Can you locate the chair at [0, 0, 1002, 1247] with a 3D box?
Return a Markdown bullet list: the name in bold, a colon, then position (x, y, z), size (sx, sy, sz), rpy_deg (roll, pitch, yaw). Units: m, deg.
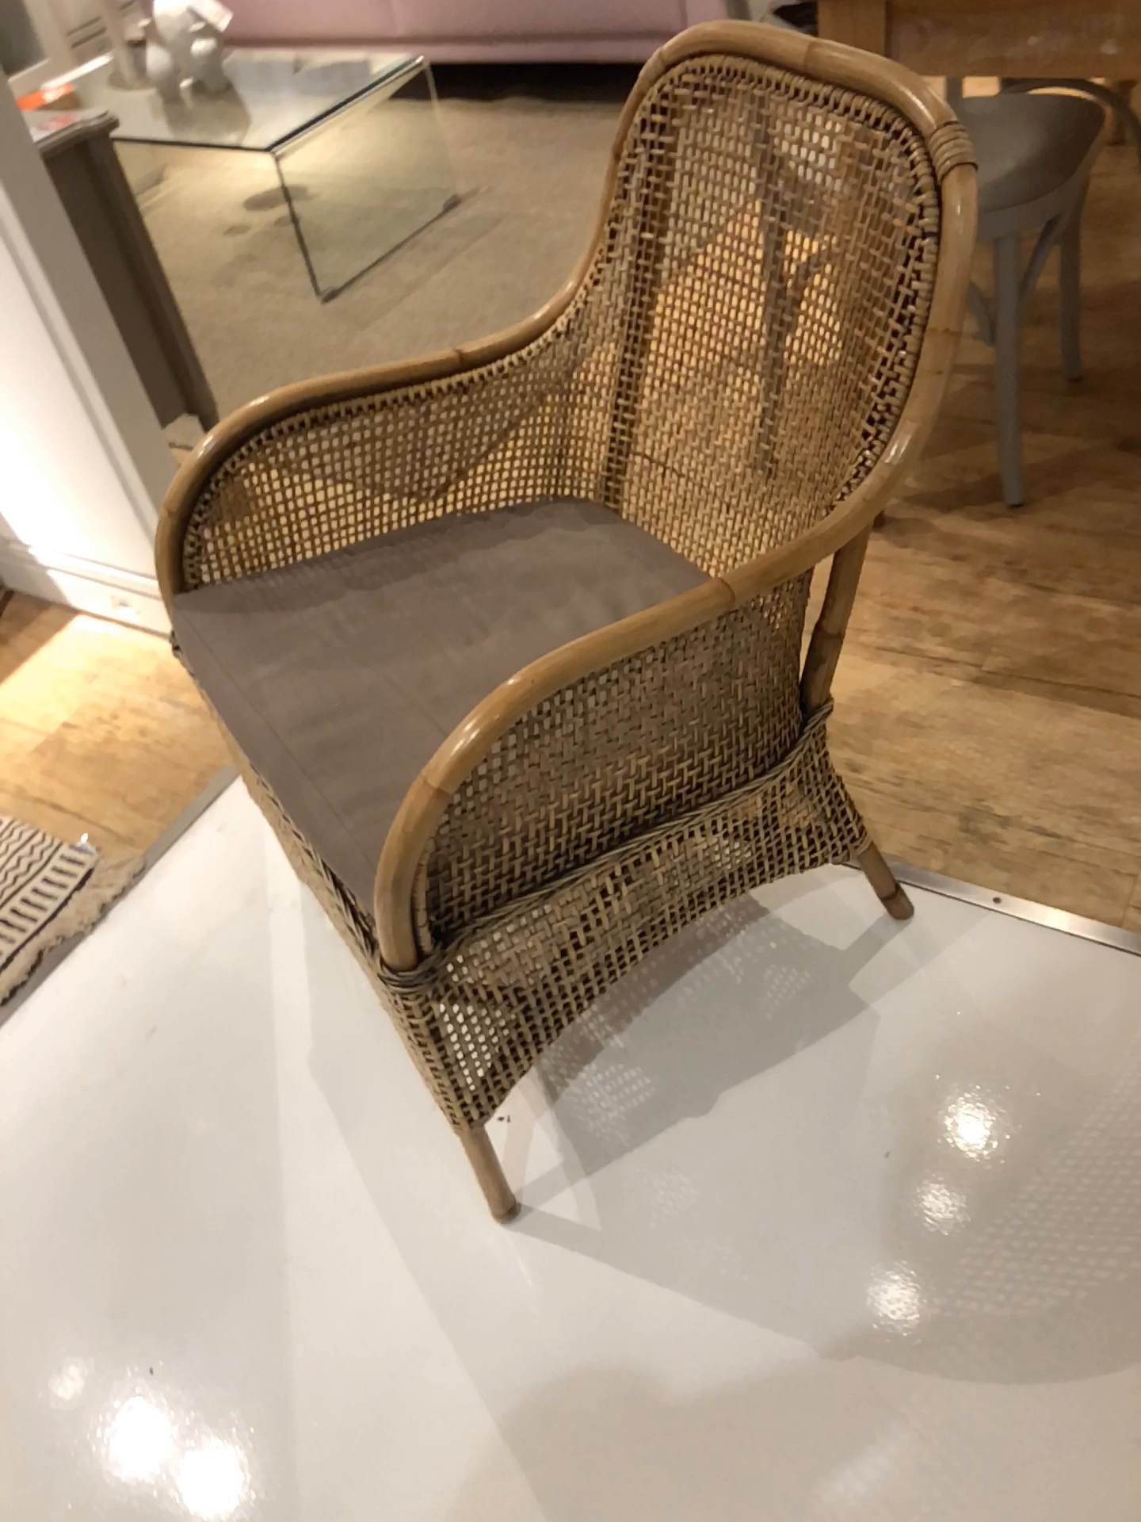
- **chair**: position (-0.046, -0.128, 1.211), size (0.621, 0.904, 0.543), rpy_deg (-31, 46, -17)
